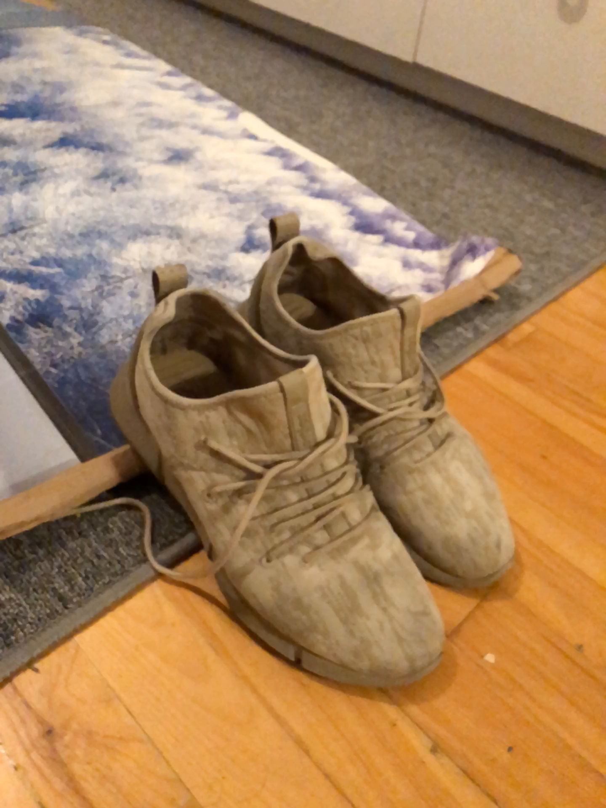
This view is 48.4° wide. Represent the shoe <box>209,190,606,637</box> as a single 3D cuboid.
[{"bbox_3d":[0.063,0.007,0.451,0.110,0.119,0.250,-27,81,-33],"label":"shoe"}]

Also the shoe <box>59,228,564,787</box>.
[{"bbox_3d":[-0.009,0.053,0.364,0.110,0.119,0.250,-30,80,-35],"label":"shoe"}]
